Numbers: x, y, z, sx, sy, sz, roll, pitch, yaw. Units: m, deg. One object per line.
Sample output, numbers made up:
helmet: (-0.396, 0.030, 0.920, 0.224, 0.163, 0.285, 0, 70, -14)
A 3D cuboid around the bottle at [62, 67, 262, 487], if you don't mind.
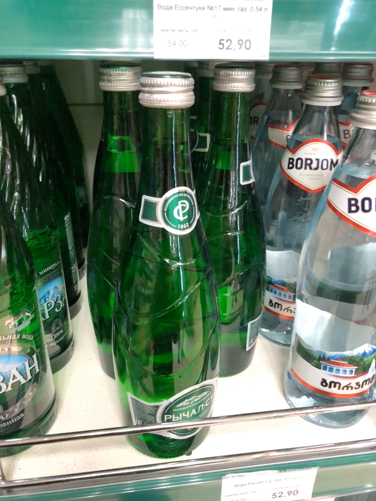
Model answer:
bottle: (-0.017, 0.023, 0.274, 0.080, 0.259, 0.070, -15, 30, -28)
